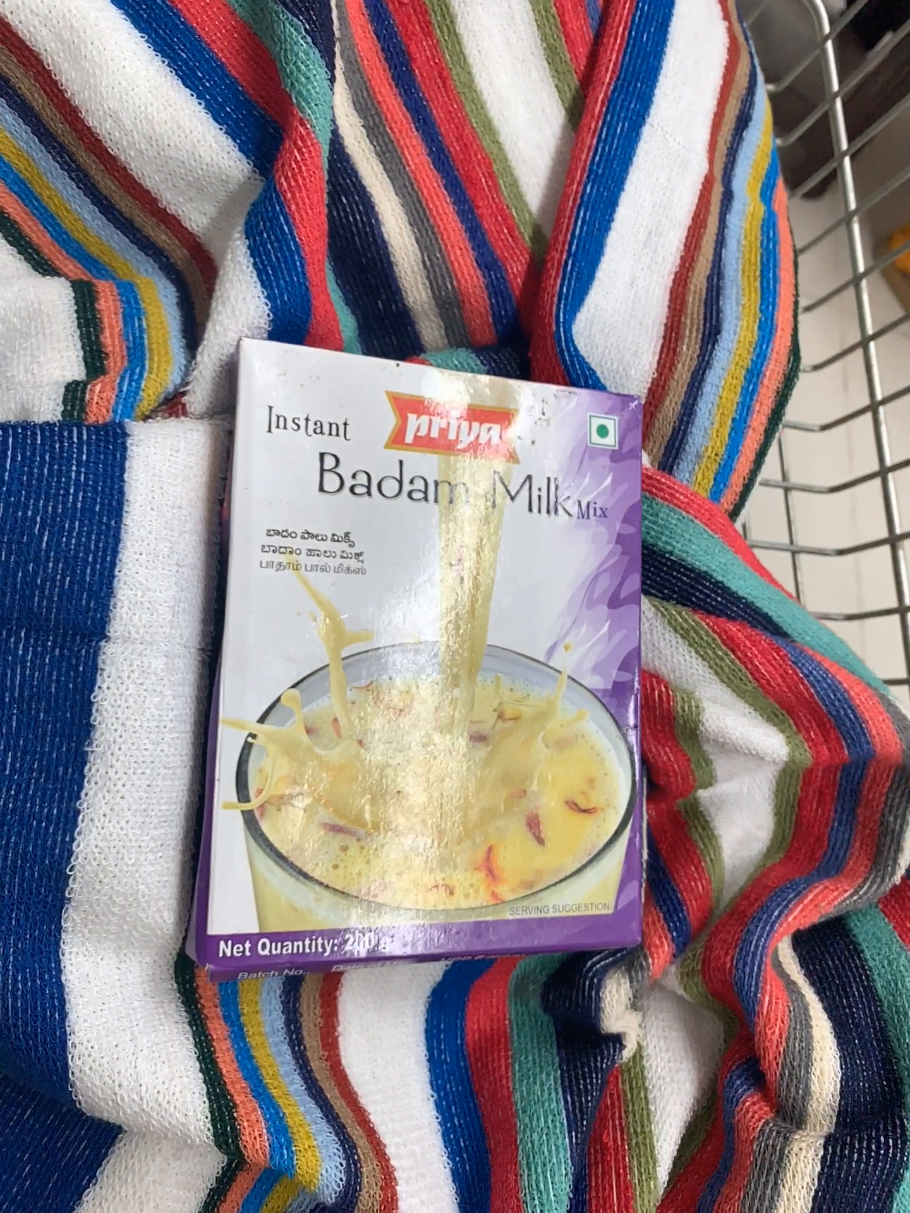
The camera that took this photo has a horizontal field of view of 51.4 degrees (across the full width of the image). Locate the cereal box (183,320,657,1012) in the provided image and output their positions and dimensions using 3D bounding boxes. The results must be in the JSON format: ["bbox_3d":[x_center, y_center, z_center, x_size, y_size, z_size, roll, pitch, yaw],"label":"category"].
[{"bbox_3d":[-0.005,0.016,0.255,0.120,0.030,0.160,4,83,-22],"label":"cereal box"}]
